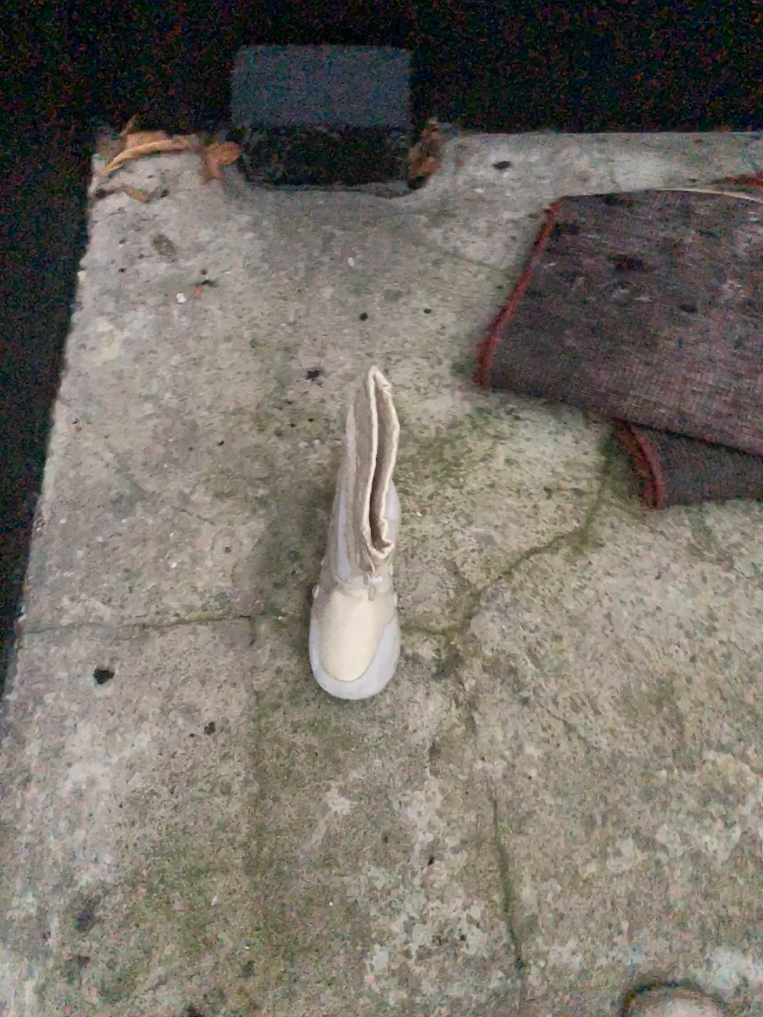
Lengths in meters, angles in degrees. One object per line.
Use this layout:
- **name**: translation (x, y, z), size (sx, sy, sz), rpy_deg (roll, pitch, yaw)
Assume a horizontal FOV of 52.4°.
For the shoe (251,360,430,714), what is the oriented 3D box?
- **shoe**: translation (-0.022, 0.051, 0.779), size (0.120, 0.309, 0.271), rpy_deg (4, 71, 4)
